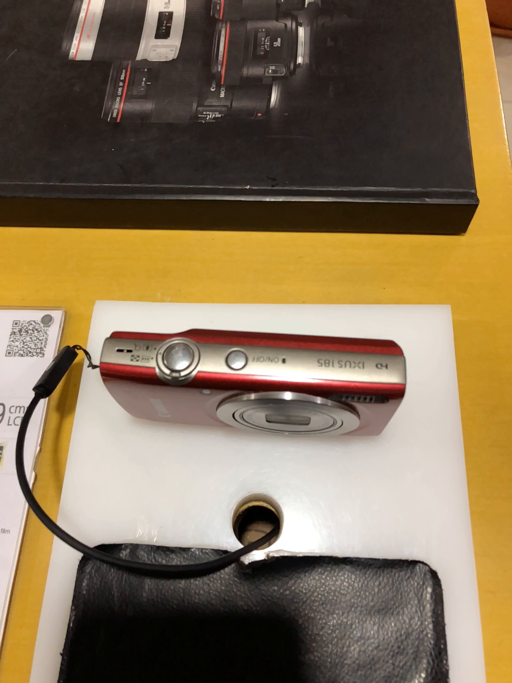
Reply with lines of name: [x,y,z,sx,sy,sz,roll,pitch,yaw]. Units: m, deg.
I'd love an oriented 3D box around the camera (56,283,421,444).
camera: [-0.004,0.009,0.184,0.100,0.050,0.030,3,67,4]
